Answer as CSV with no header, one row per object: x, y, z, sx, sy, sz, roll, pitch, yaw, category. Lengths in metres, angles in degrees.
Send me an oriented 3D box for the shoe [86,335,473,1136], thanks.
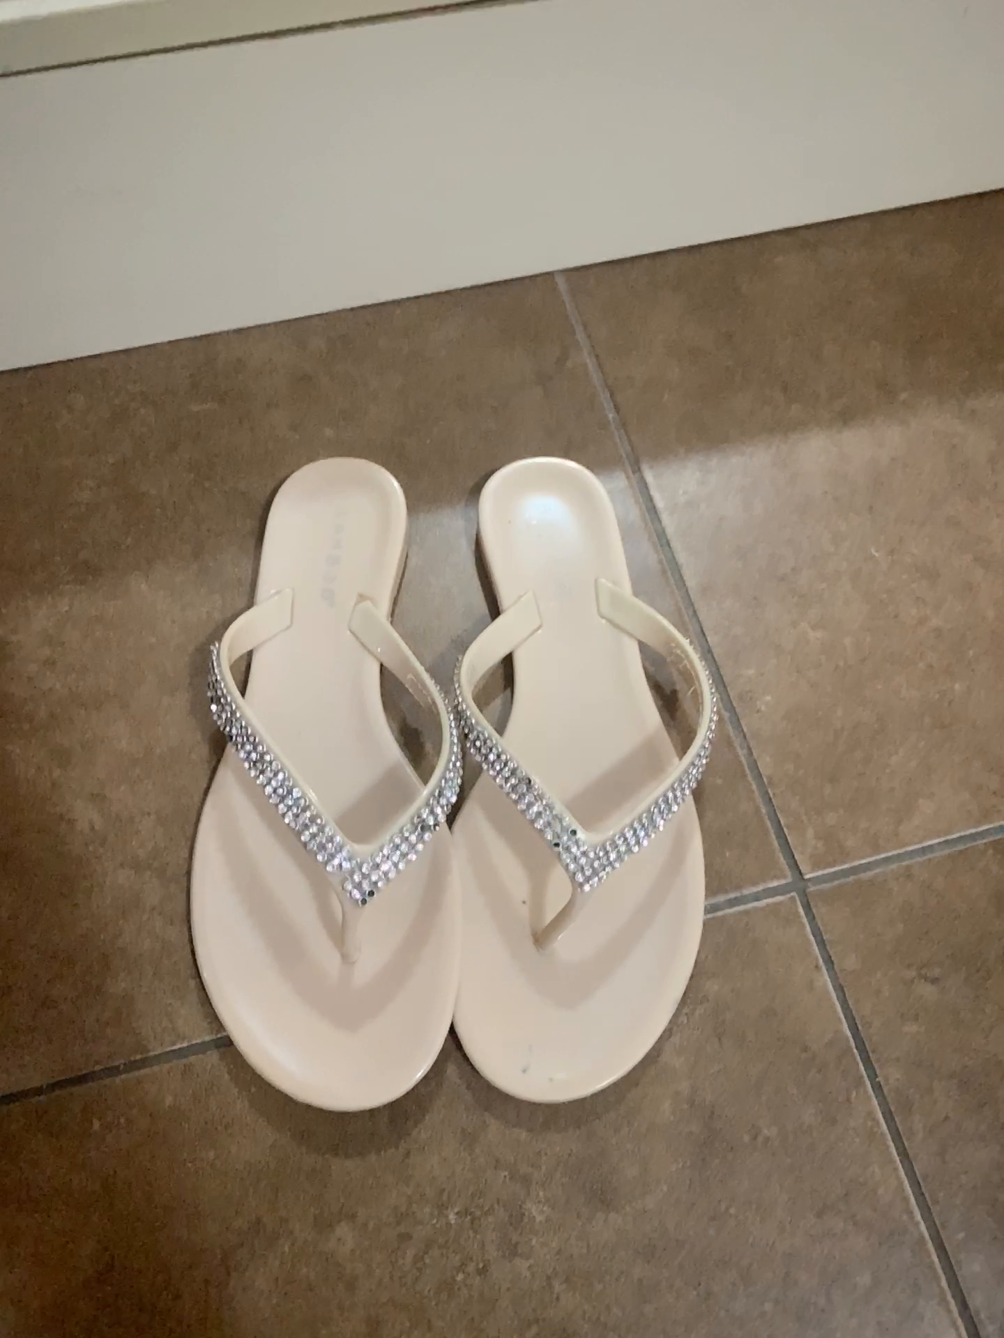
-0.061,0.013,0.335,0.093,0.067,0.250,-2,65,-1,shoe

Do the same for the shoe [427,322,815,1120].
0.025,0.008,0.335,0.091,0.067,0.250,-2,65,-1,shoe
